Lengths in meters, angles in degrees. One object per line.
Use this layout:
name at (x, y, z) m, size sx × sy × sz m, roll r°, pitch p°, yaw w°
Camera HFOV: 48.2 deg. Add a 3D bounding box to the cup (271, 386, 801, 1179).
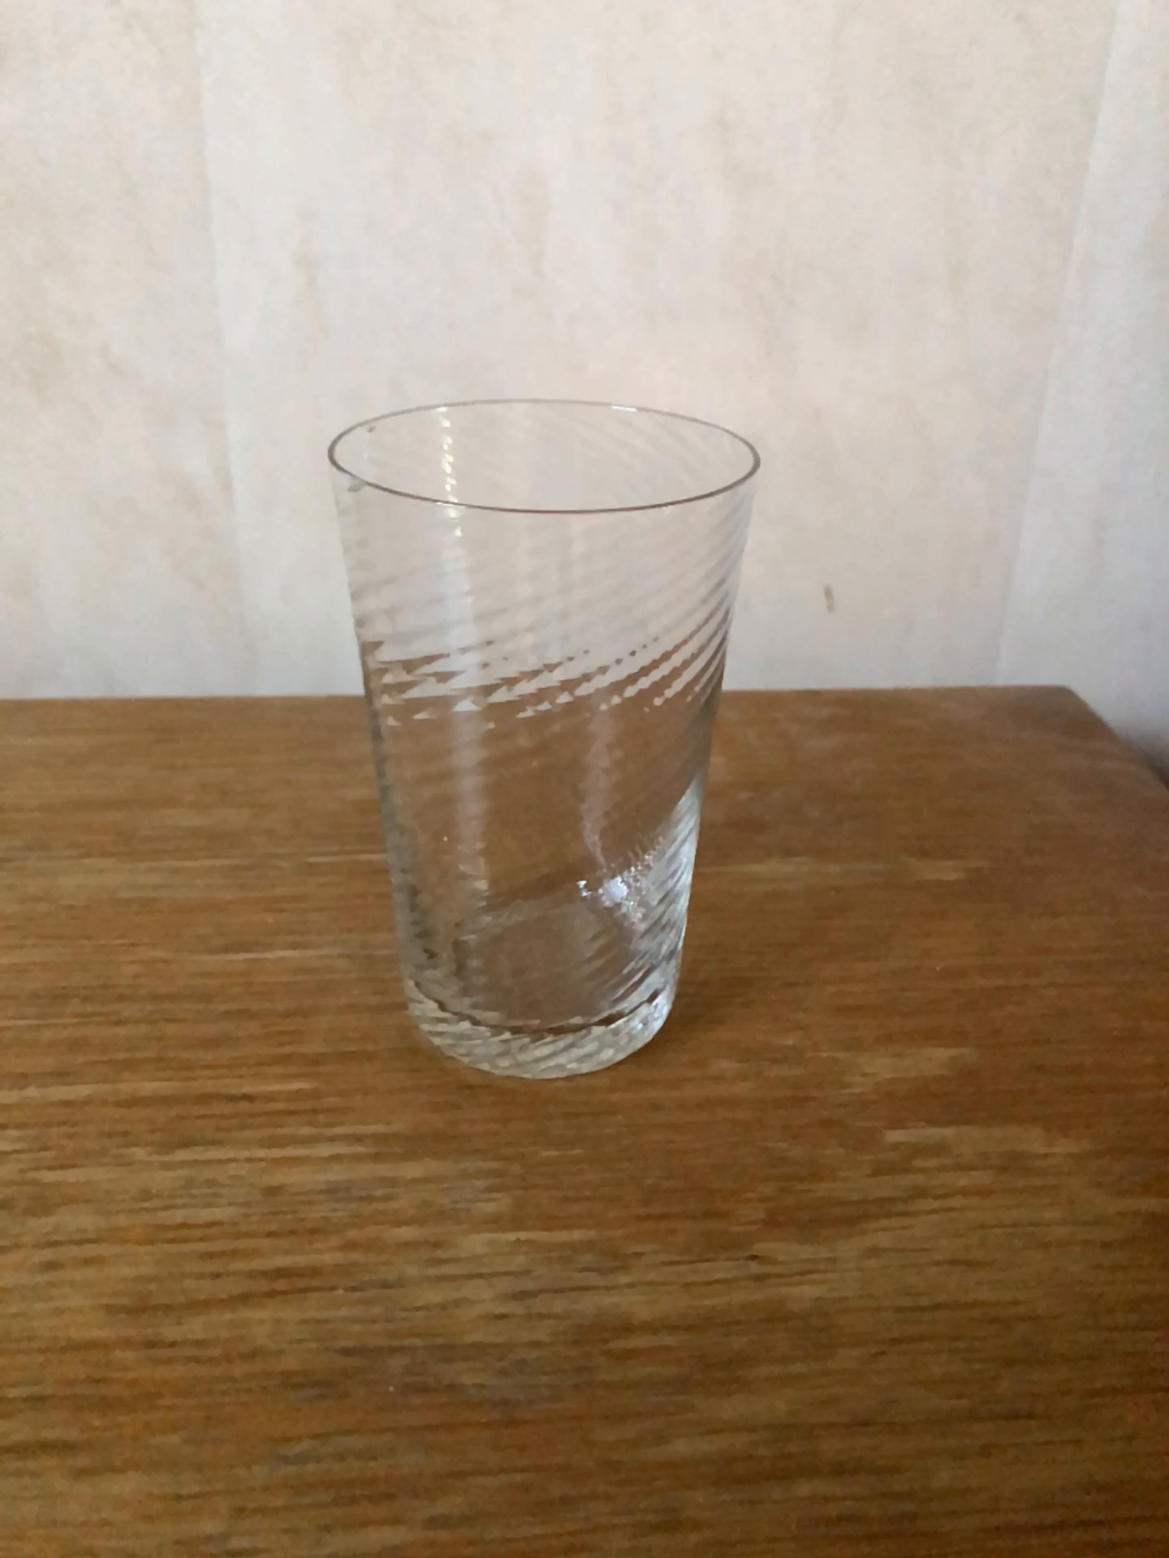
cup at (-0.005, -0.004, 0.250) m, size 0.070 × 0.119 × 0.081 m, roll 9°, pitch 27°, yaw 13°
